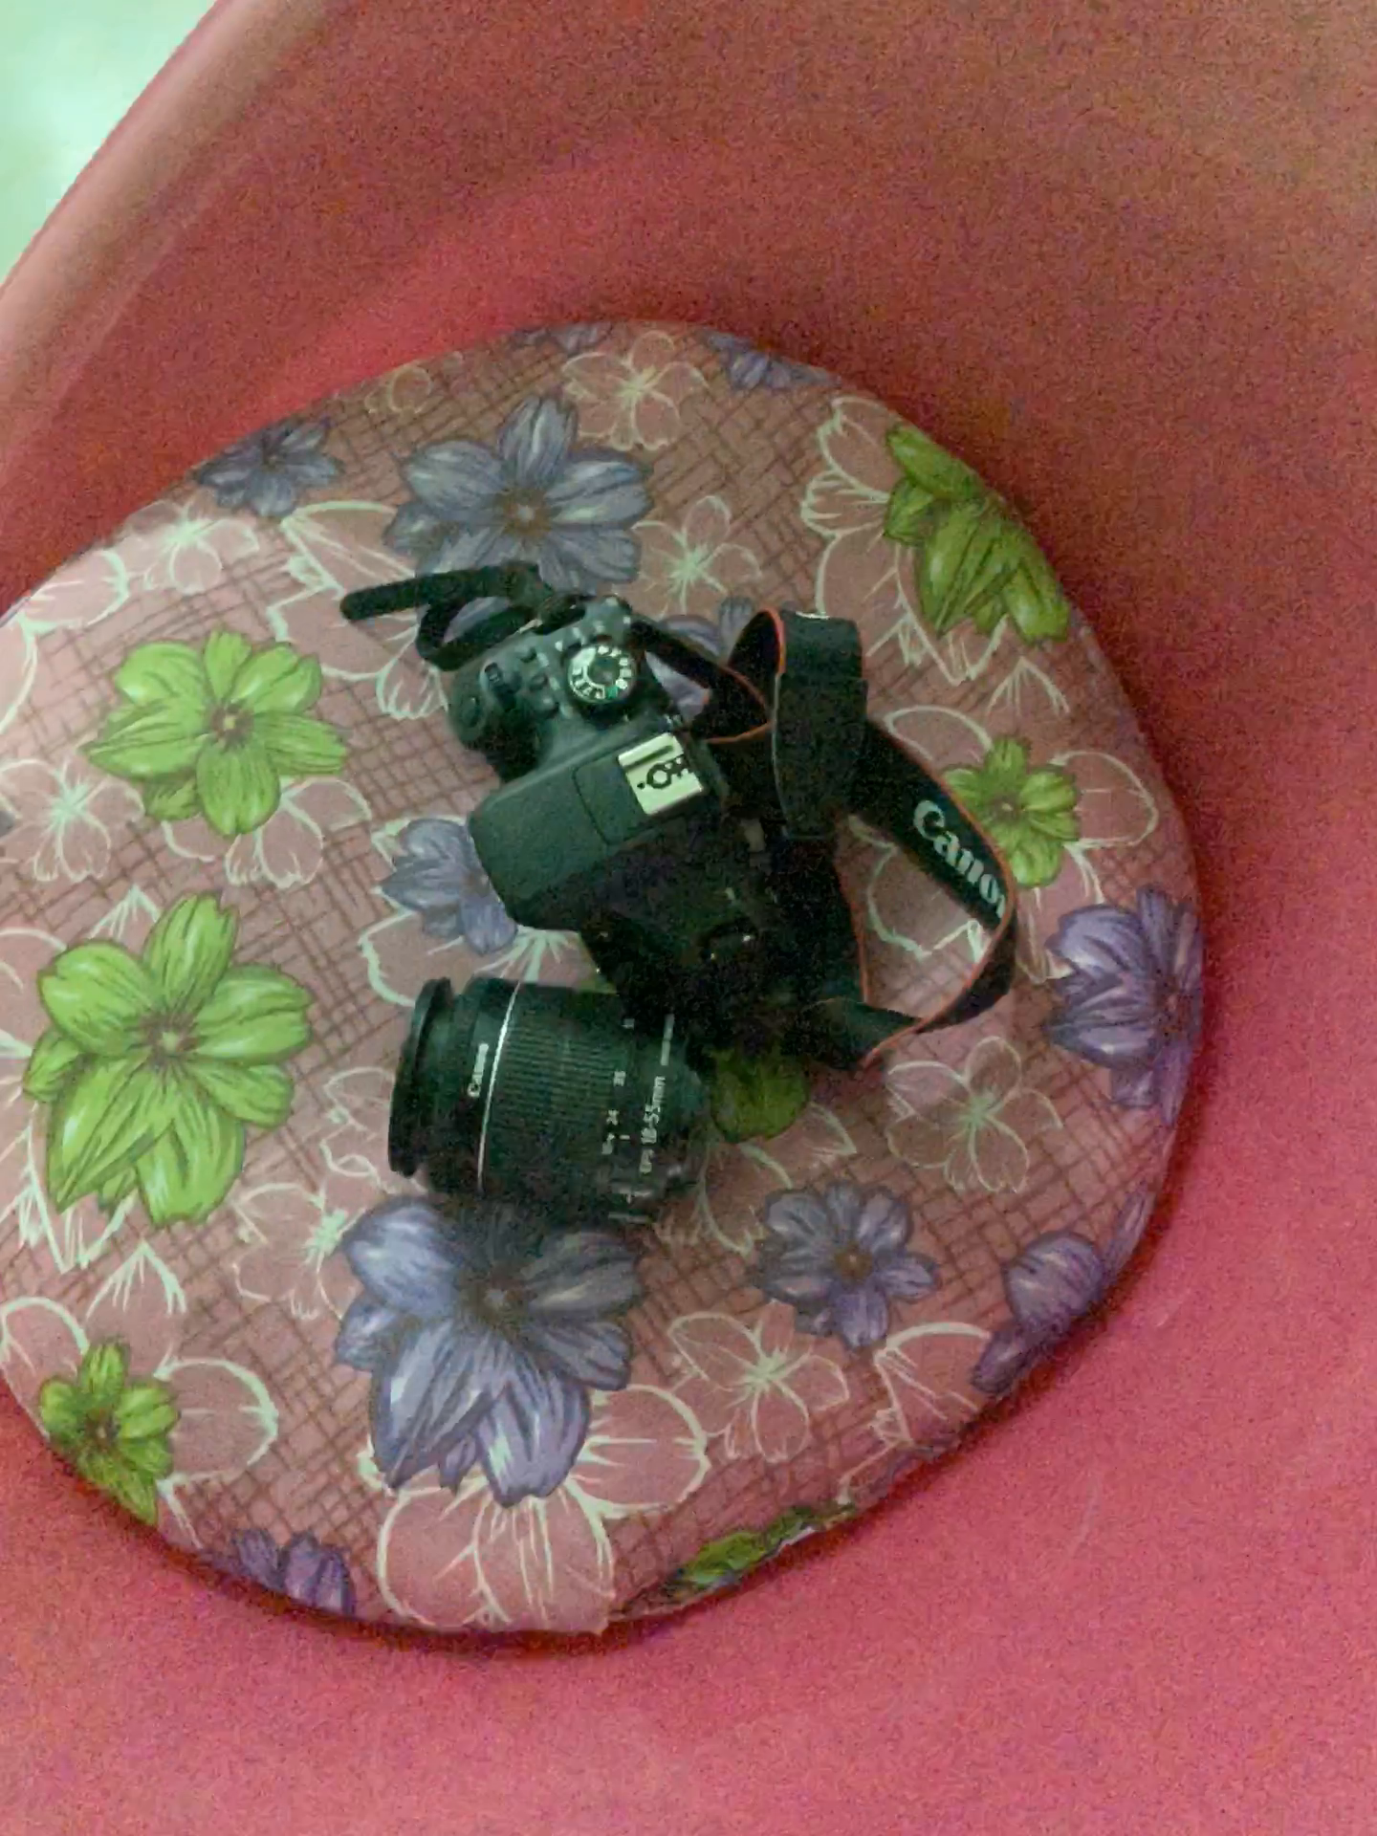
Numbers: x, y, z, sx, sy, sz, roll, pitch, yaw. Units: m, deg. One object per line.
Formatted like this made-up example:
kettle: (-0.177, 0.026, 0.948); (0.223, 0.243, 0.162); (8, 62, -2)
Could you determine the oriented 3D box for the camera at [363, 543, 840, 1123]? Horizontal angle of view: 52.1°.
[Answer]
camera: (-0.025, -0.024, 0.447); (0.086, 0.078, 0.143); (-28, 71, -3)
